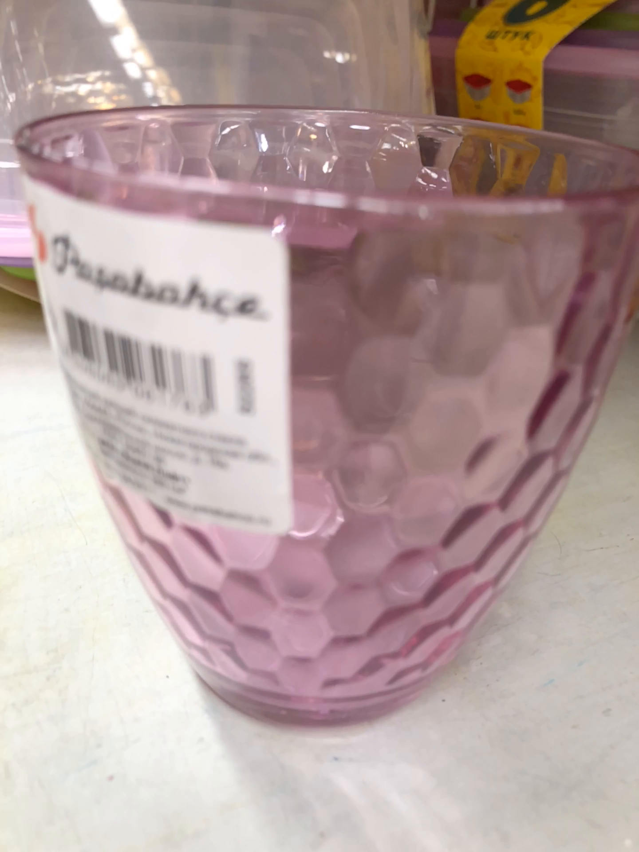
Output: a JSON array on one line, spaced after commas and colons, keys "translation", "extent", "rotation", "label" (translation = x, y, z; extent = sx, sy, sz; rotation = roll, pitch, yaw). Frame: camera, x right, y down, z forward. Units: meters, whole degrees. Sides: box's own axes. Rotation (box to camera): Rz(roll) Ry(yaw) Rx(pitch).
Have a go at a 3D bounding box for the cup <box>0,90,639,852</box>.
[{"translation": [0.002, -0.004, 0.108], "extent": [0.078, 0.074, 0.090], "rotation": [-23, 38, -38], "label": "cup"}]
